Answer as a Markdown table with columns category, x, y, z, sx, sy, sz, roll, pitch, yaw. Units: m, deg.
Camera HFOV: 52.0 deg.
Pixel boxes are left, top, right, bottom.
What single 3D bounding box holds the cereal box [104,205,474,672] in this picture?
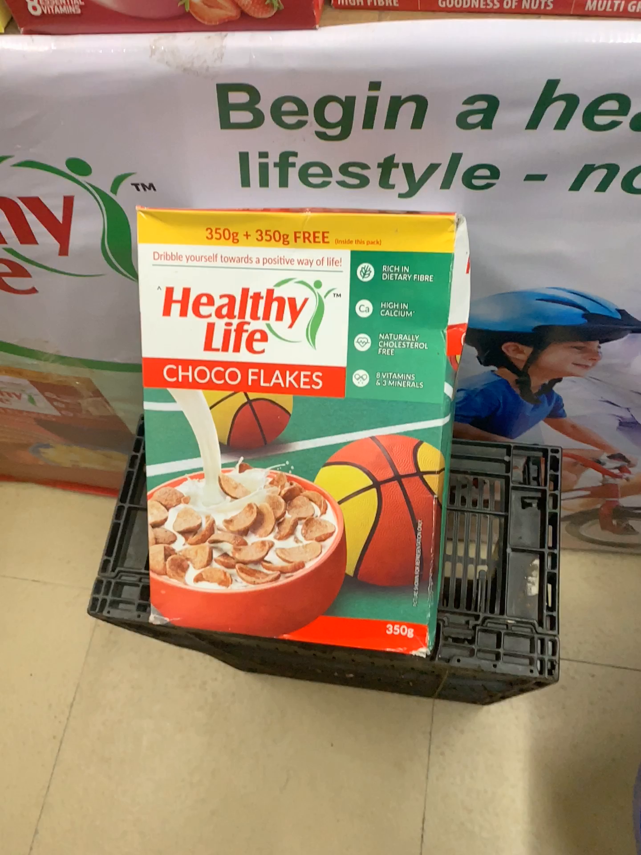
| category | x | y | z | sx | sy | sz | roll | pitch | yaw |
| --- | --- | --- | --- | --- | --- | --- | --- | --- | --- |
| cereal box | -0.017 | 0.001 | 0.442 | 0.210 | 0.090 | 0.280 | 4 | 105 | 10 |
